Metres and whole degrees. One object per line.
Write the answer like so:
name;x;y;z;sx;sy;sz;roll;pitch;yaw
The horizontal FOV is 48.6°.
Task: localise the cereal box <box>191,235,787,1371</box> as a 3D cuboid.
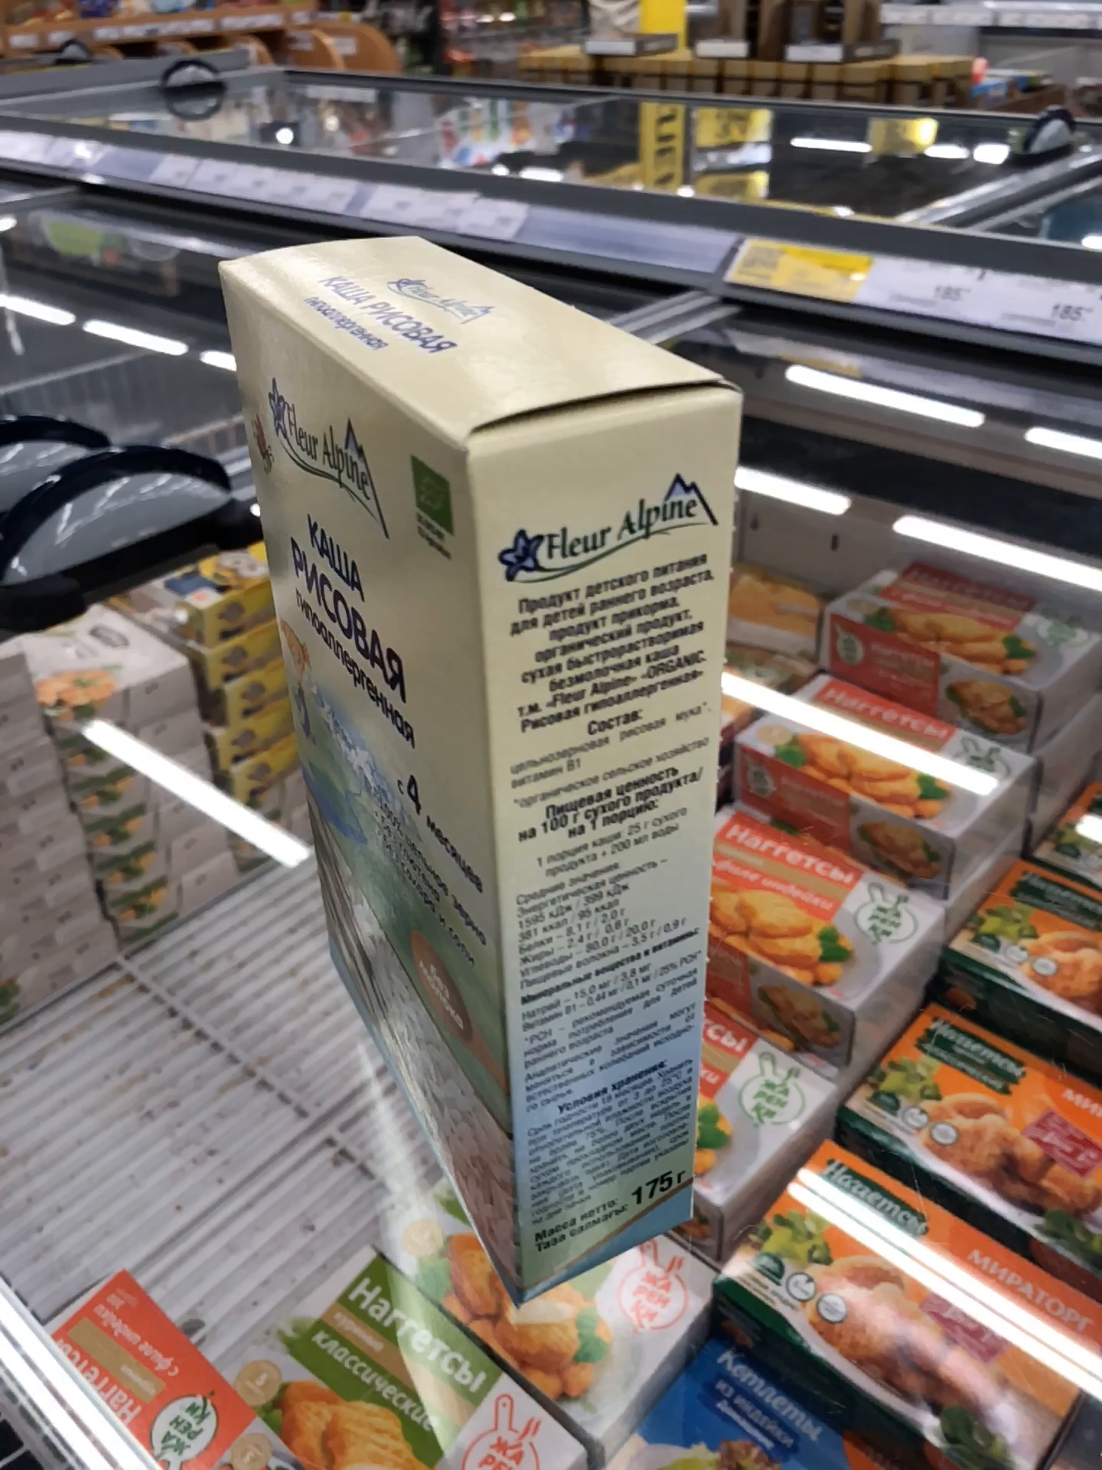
cereal box;-0.018;0.011;0.267;0.050;0.199;0.141;-17;36;-22
